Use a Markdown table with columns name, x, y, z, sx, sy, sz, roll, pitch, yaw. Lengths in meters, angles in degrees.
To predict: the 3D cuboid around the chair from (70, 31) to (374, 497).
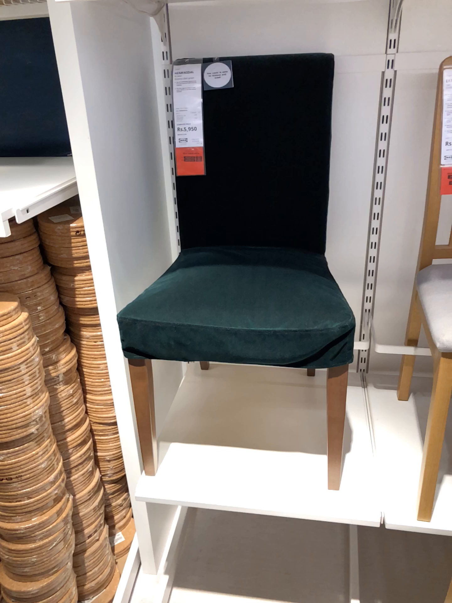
| name | x | y | z | sx | sy | sz | roll | pitch | yaw |
| --- | --- | --- | --- | --- | --- | --- | --- | --- | --- |
| chair | 0.036 | -0.094 | 1.178 | 0.470 | 0.914 | 0.513 | 1 | 25 | 8 |
